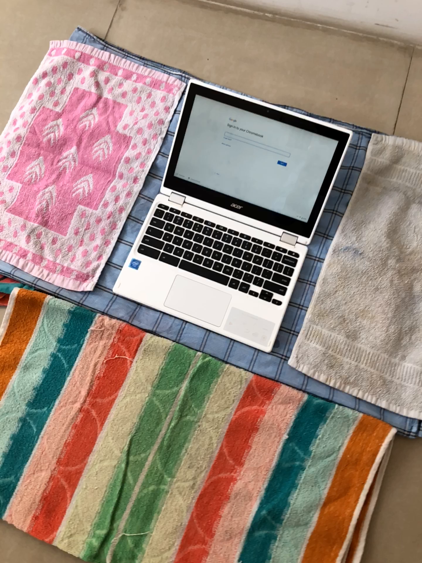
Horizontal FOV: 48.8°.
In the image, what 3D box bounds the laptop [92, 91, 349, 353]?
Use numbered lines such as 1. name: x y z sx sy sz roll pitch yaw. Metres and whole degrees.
1. laptop: 0.027 -0.105 0.782 0.285 0.101 0.367 21 75 7
